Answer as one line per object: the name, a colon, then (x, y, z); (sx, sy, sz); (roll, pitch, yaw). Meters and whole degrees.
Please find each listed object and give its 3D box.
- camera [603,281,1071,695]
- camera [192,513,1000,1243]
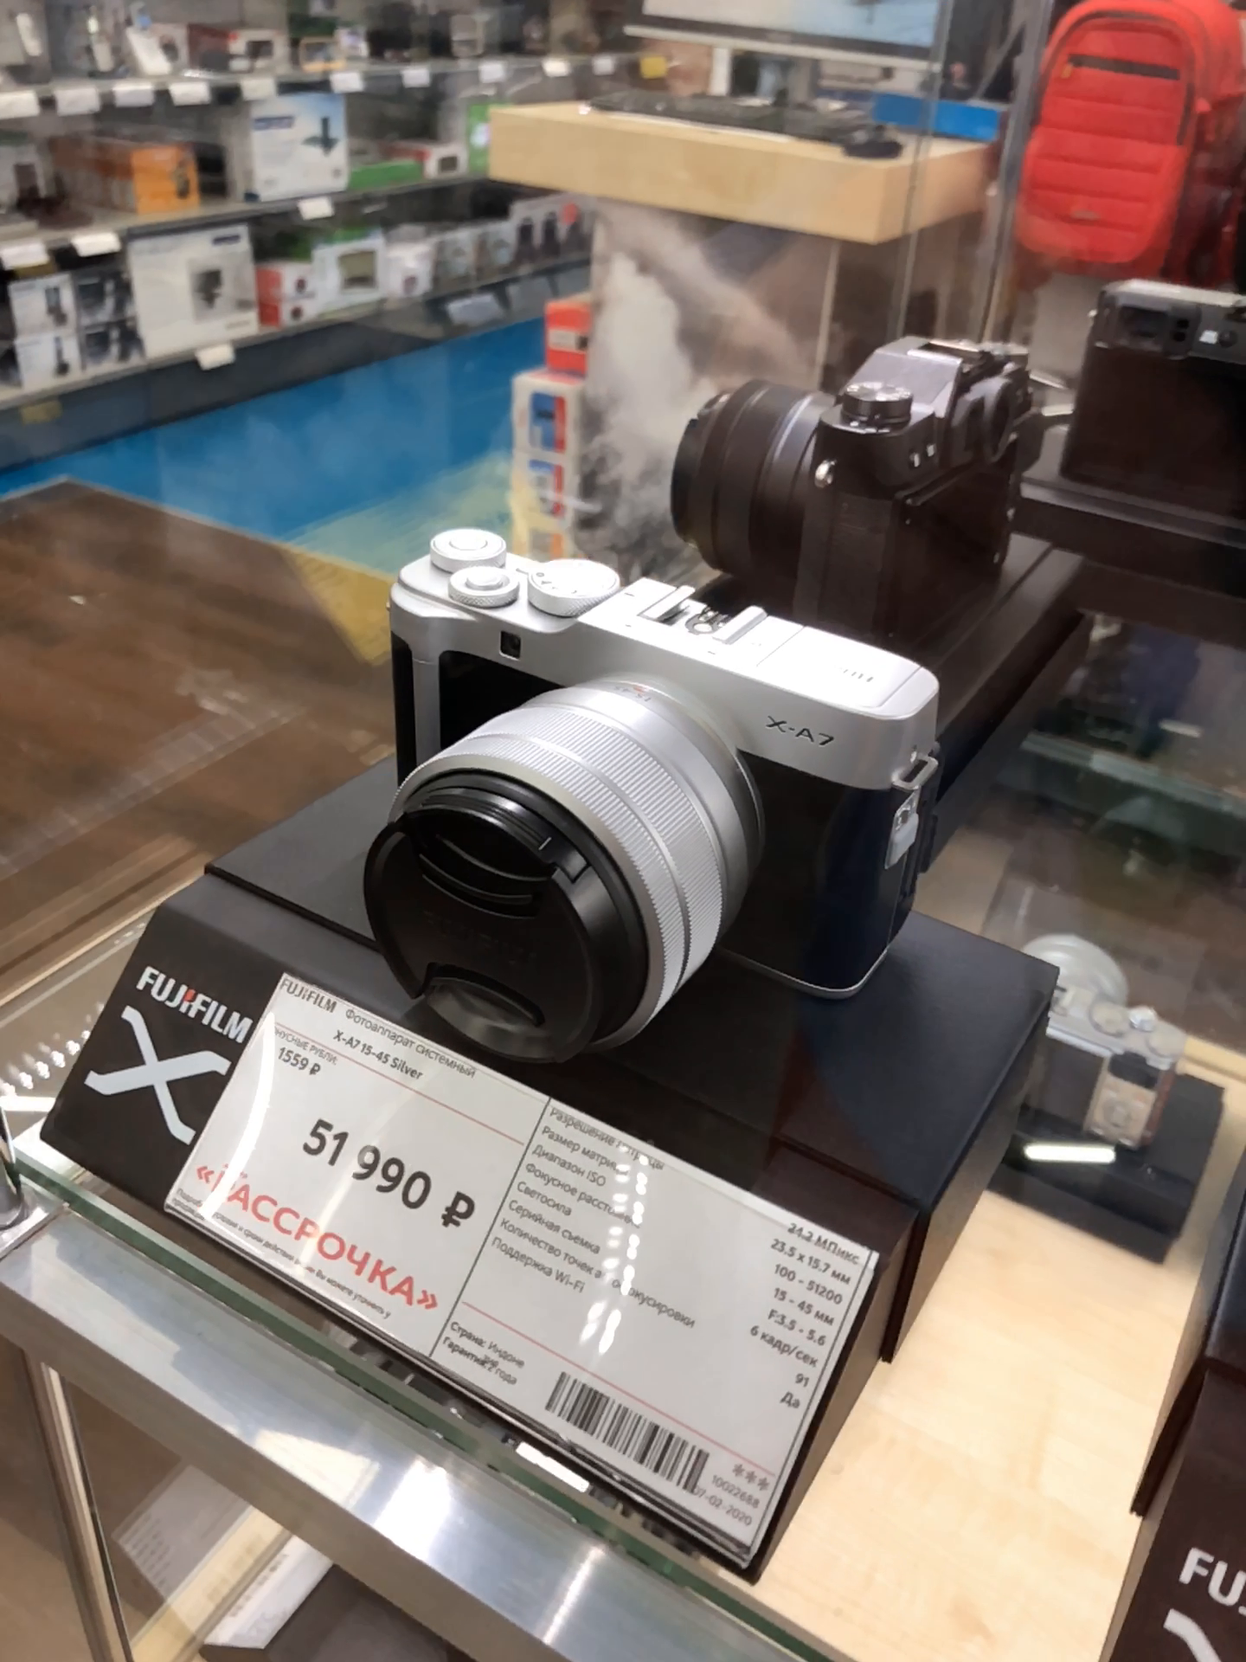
camera: (0.067, -0.112, 0.429); (0.097, 0.080, 0.116); (20, 36, 23)
camera: (-0.006, 0.000, 0.281); (0.126, 0.080, 0.085); (22, 37, 26)
